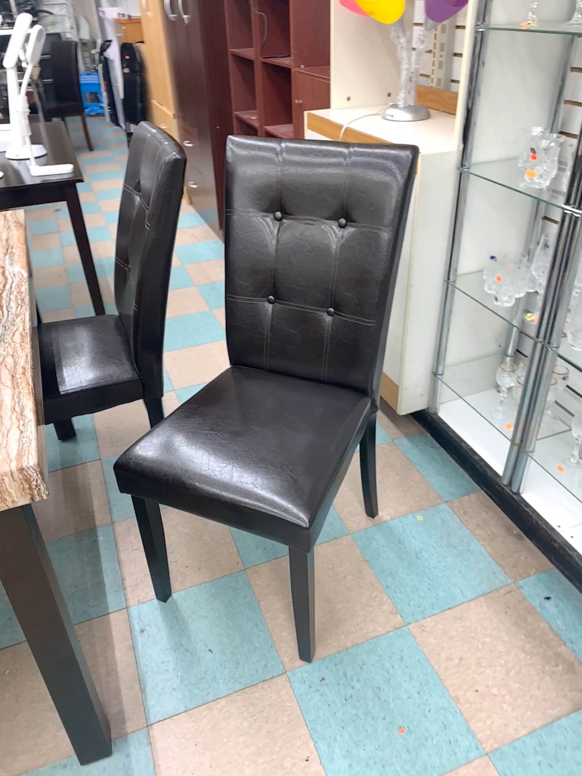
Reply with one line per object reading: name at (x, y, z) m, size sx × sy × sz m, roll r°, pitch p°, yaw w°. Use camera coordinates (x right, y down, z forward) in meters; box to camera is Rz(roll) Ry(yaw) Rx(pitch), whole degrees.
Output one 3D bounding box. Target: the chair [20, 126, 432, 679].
chair at (-0.046, 0.009, 1.263) m, size 0.470 × 0.939 × 0.575 m, roll 13°, pitch 37°, yaw 23°
